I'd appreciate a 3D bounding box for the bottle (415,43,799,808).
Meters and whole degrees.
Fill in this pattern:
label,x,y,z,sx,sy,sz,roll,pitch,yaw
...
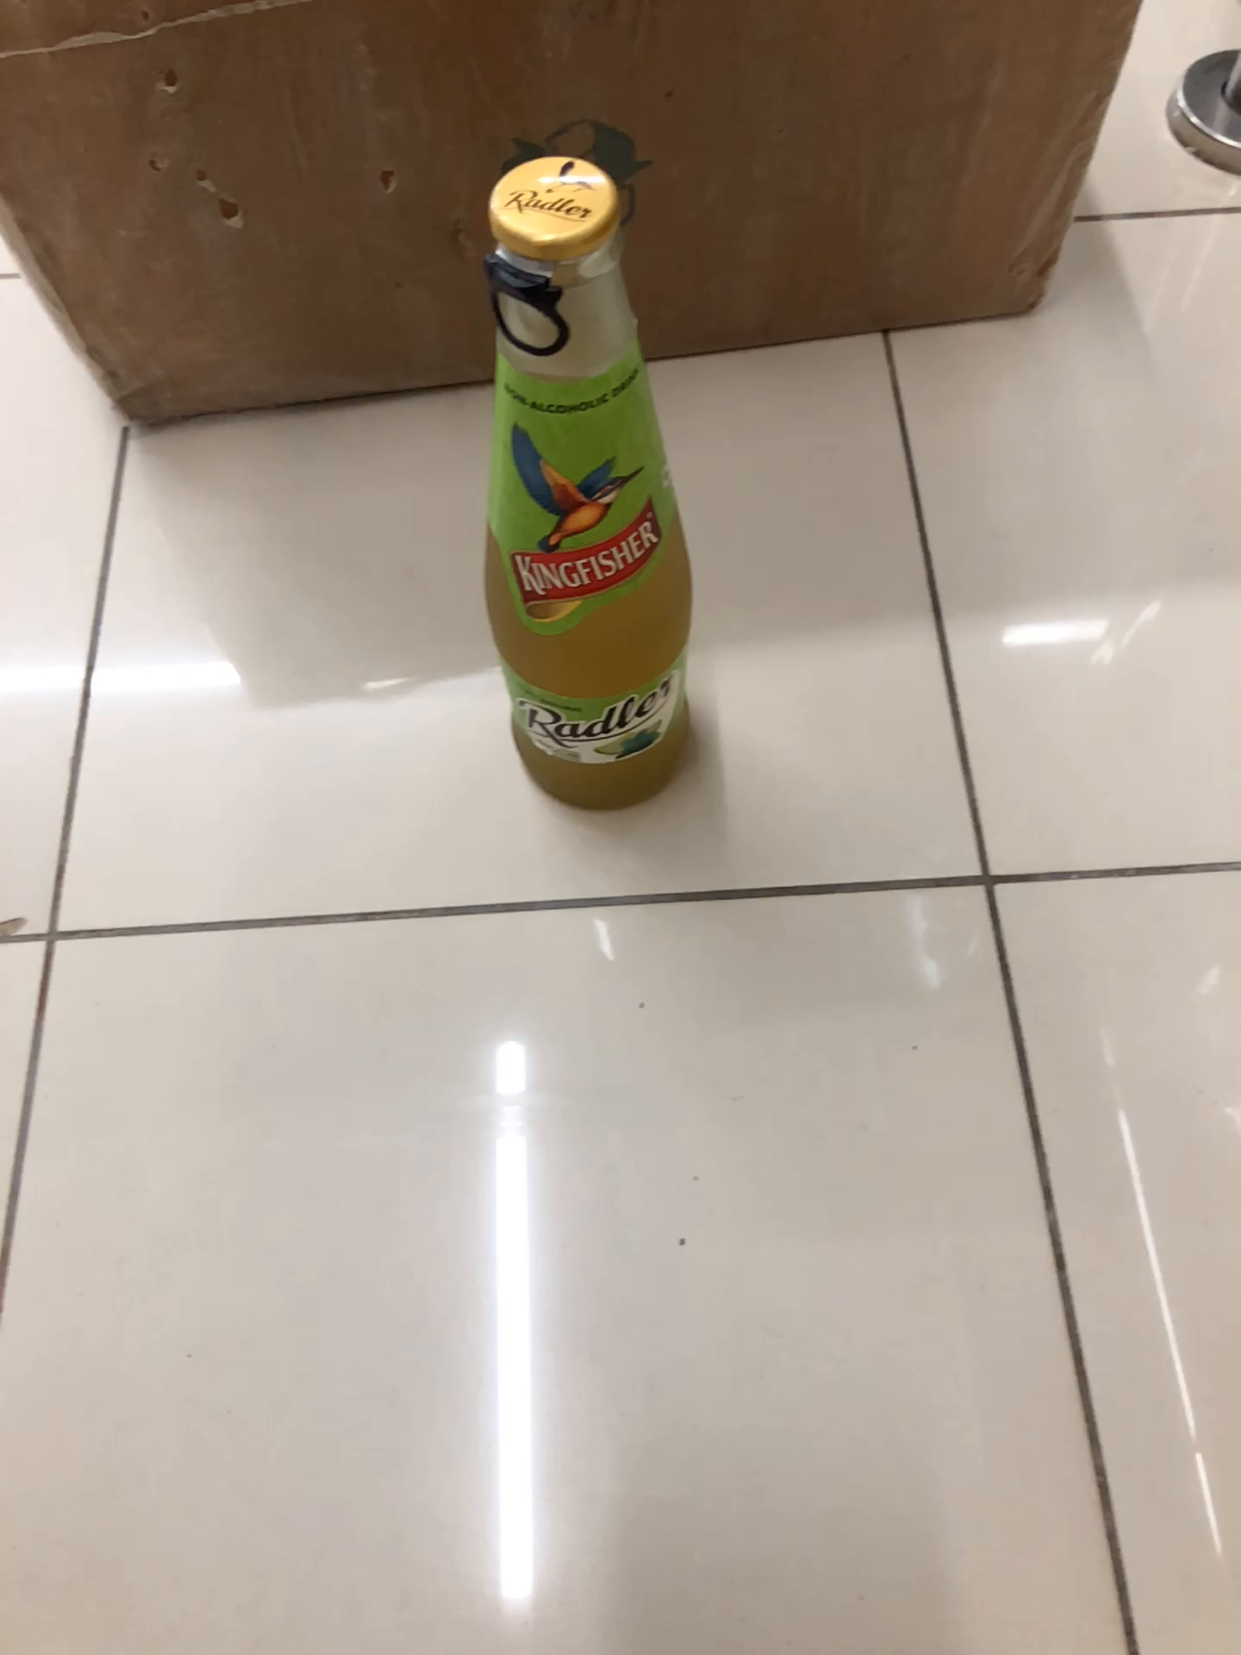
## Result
label,x,y,z,sx,sy,sz,roll,pitch,yaw
bottle,-0.002,-0.082,0.357,0.070,0.209,0.060,-4,63,0
